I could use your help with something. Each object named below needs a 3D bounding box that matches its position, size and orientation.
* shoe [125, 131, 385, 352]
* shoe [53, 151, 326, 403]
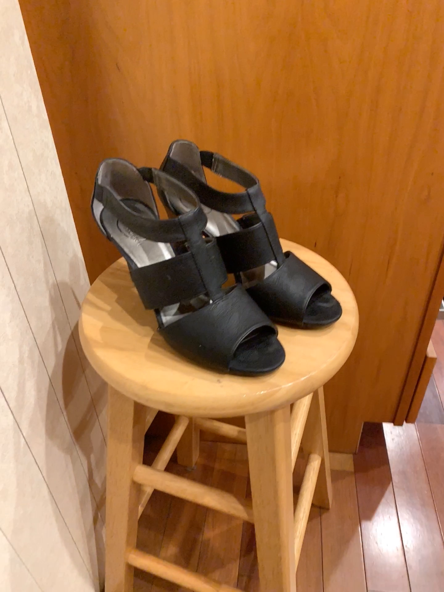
[{"bbox_3d":[0.023,-0.069,0.470,0.234,0.130,0.100,27,46,33],"label":"shoe"},{"bbox_3d":[-0.039,-0.033,0.424,0.244,0.125,0.090,29,47,35],"label":"shoe"}]
